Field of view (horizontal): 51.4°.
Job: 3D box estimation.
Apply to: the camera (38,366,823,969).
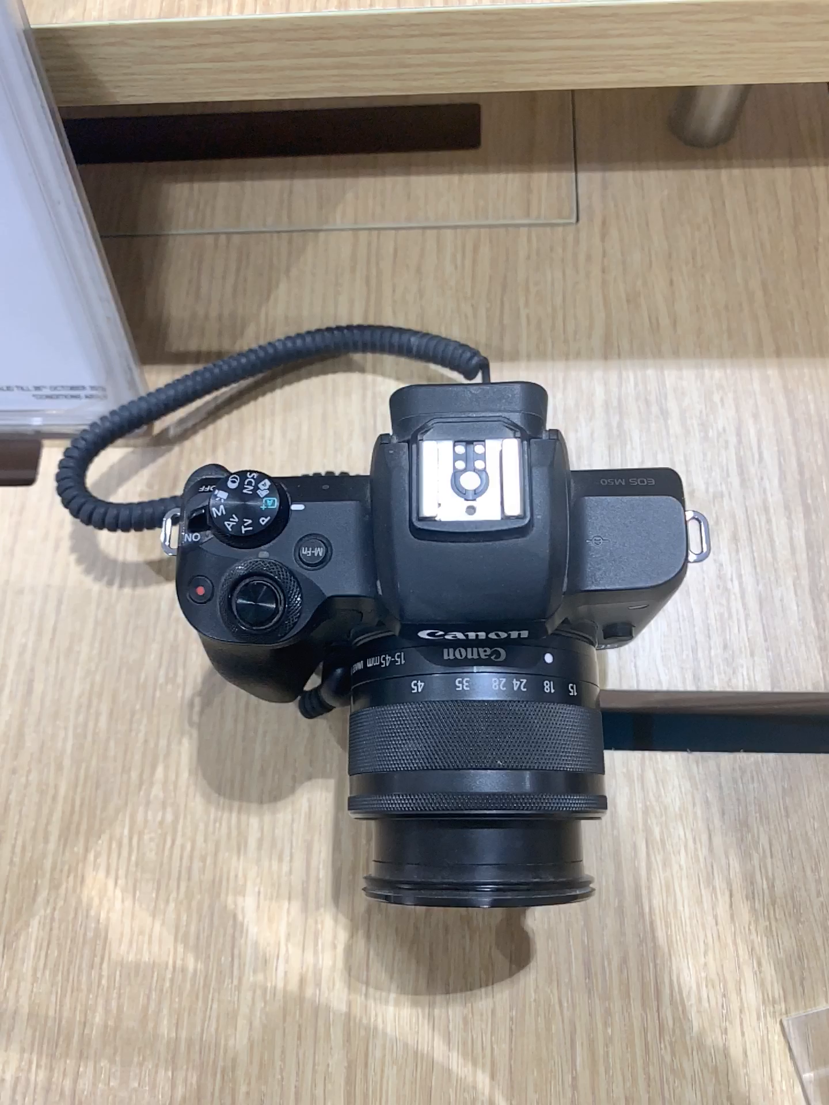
[{"bbox_3d":[0.003,0.031,0.195,0.120,0.100,0.100,-3,71,3],"label":"camera"}]
